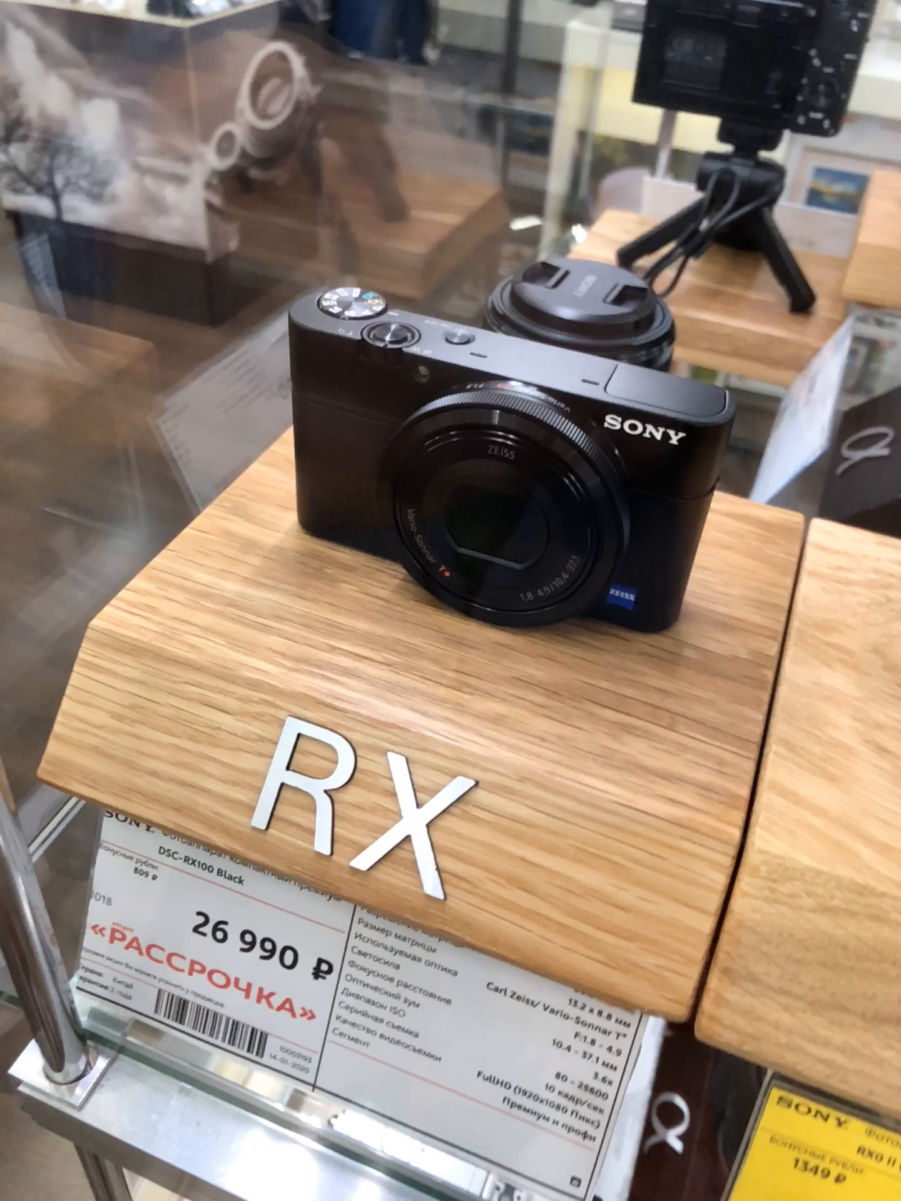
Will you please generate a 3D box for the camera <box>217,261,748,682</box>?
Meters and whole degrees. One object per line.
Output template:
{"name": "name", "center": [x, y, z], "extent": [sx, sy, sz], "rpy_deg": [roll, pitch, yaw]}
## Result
{"name": "camera", "center": [0.005, -0.031, 0.232], "extent": [0.106, 0.062, 0.037], "rpy_deg": [17, 41, 14]}
